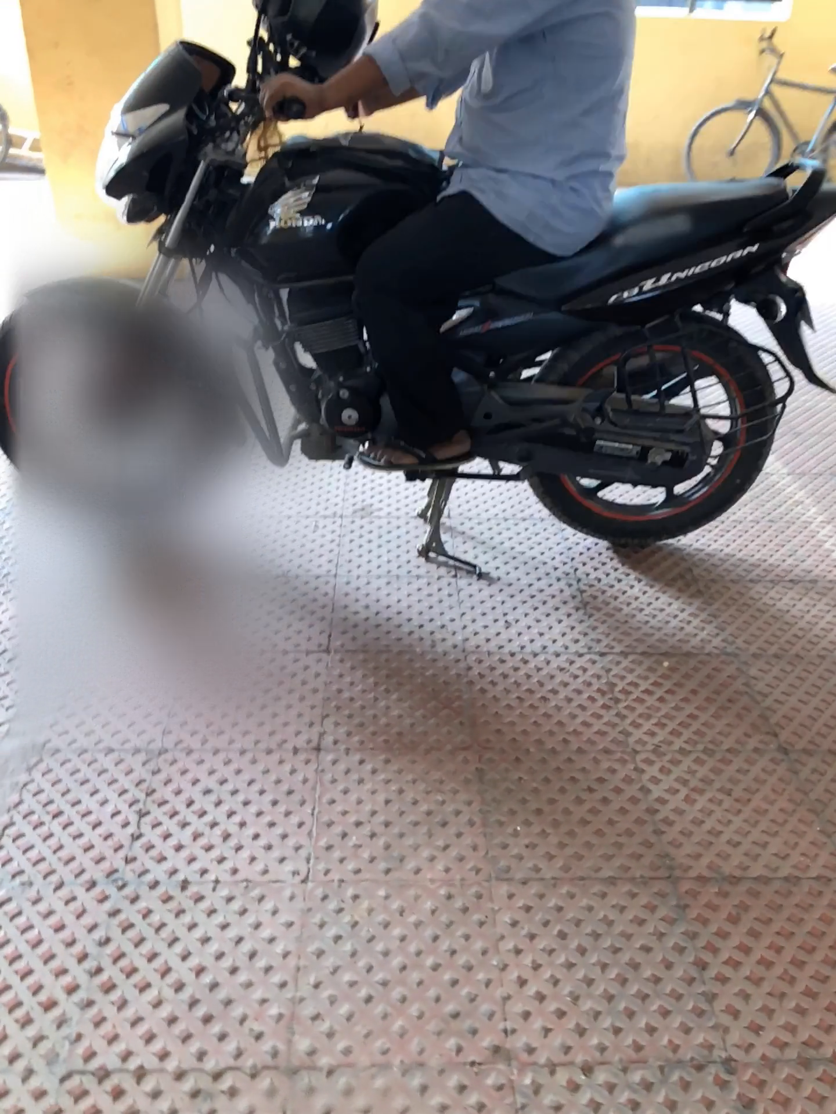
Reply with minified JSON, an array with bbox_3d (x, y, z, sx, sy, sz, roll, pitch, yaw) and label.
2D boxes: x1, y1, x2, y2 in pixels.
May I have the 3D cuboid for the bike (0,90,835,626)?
[{"bbox_3d":[-0.079,-0.496,2.163,1.883,1.009,0.790,1,31,1],"label":"bike"}]
